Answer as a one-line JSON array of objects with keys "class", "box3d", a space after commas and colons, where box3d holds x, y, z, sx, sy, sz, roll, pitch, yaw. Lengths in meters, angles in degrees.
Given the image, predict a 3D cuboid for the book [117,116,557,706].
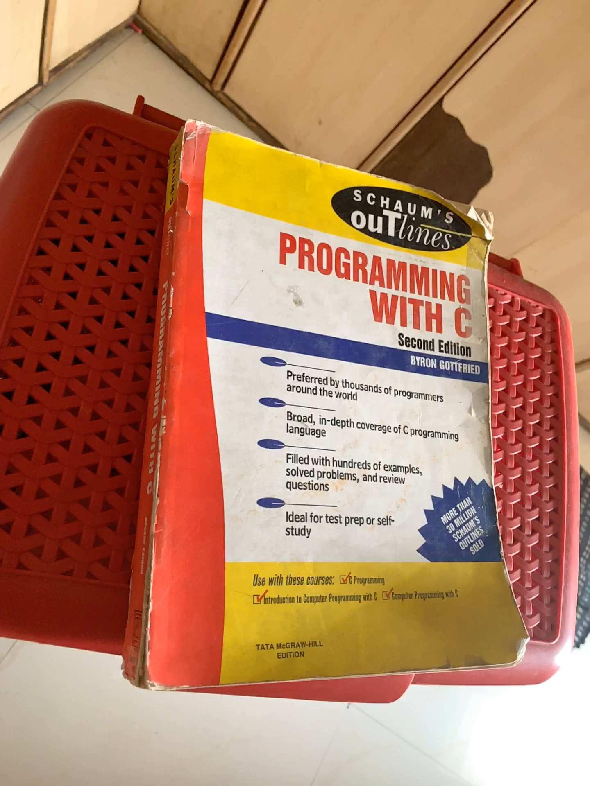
[{"class": "book", "box3d": [0.029, 0.010, 0.312, 0.201, 0.050, 0.250, 8, 73, -23]}]
